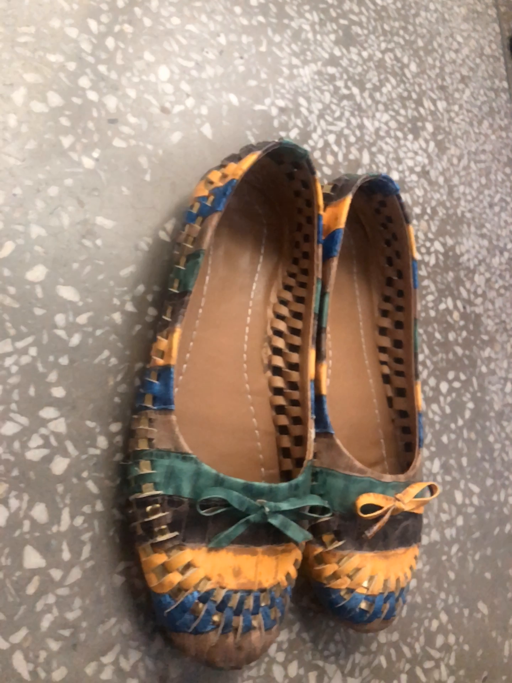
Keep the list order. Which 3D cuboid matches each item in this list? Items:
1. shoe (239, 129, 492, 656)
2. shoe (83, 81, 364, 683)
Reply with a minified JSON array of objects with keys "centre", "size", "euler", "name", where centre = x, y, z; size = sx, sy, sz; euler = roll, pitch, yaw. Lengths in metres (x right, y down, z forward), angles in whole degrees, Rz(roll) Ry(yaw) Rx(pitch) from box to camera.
[{"centre":[0.052,0.023,0.309],"size":[0.090,0.074,0.237],"euler":[7,73,-33],"name":"shoe"},{"centre":[-0.011,0.017,0.268],"size":[0.090,0.074,0.237],"euler":[12,70,-31],"name":"shoe"}]
